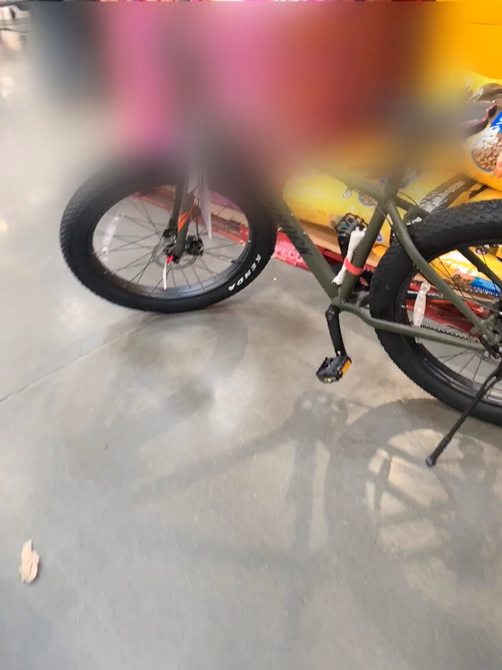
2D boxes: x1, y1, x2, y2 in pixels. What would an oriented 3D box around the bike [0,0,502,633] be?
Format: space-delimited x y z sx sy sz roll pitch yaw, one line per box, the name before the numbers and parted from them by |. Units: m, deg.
bike | 0.186 -0.174 1.090 1.713 1.203 0.594 12 39 6
